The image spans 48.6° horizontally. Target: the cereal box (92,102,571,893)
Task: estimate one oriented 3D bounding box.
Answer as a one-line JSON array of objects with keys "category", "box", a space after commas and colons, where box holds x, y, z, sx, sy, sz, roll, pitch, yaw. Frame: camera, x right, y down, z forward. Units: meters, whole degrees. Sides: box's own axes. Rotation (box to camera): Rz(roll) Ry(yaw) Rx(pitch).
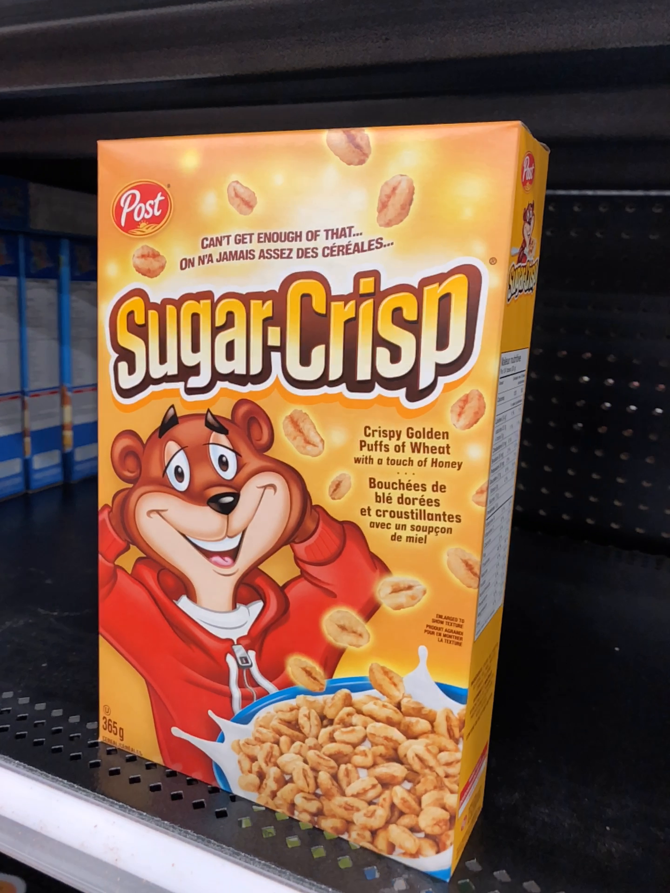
[{"category": "cereal box", "box": [-0.015, 0.017, 0.348, 0.200, 0.309, 0.060, 9, 12, 25]}]
